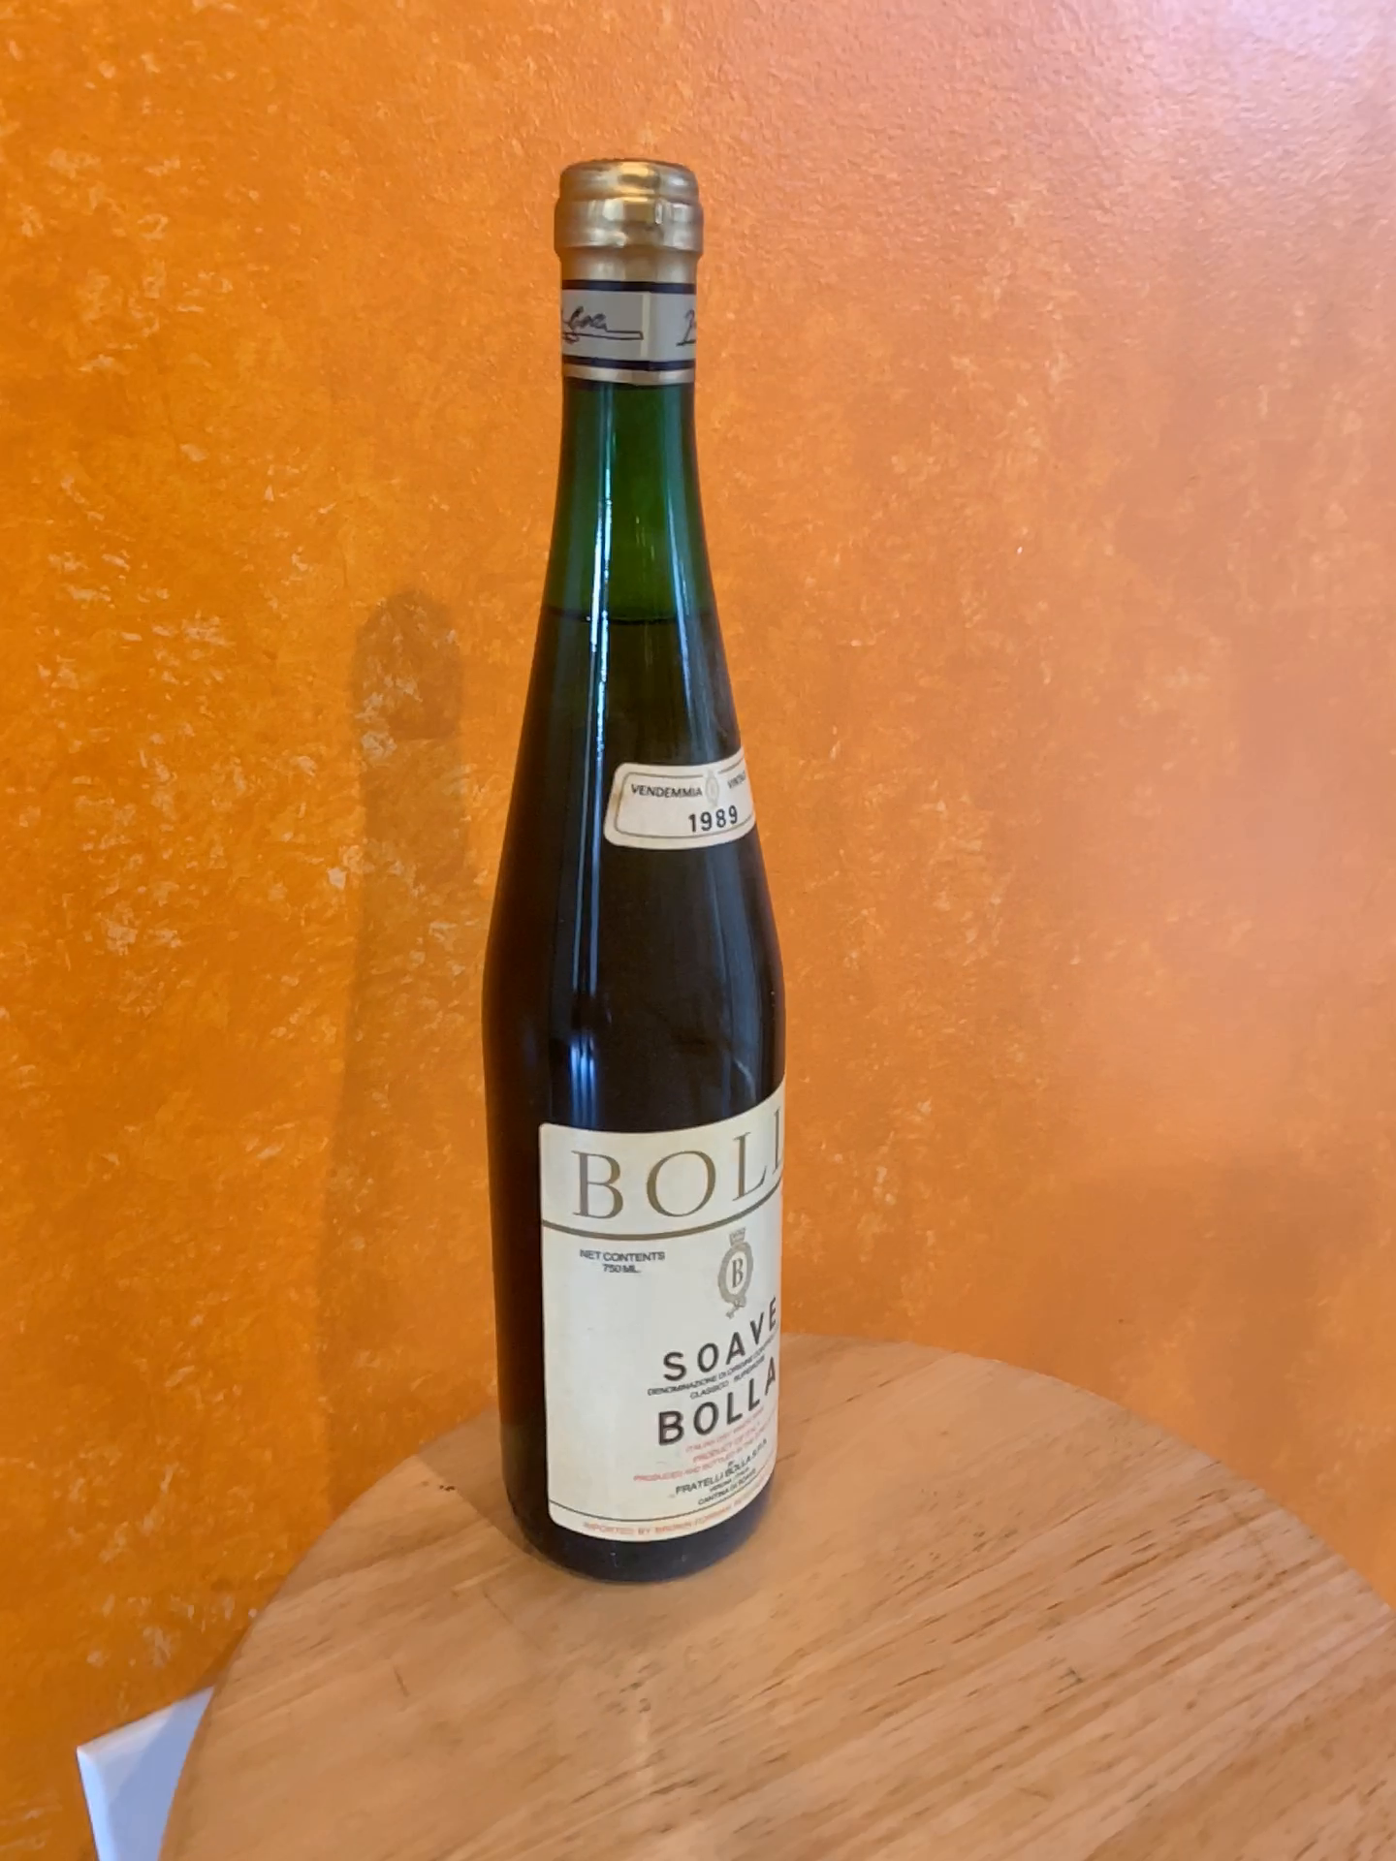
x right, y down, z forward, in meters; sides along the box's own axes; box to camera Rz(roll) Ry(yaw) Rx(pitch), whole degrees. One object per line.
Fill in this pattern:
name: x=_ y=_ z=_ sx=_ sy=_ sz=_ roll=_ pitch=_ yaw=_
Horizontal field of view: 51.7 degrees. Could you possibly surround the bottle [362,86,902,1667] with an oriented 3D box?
bottle: x=-0.016 y=0.003 z=0.342 sx=0.080 sy=0.338 sz=0.070 roll=-15 pitch=26 yaw=-37
